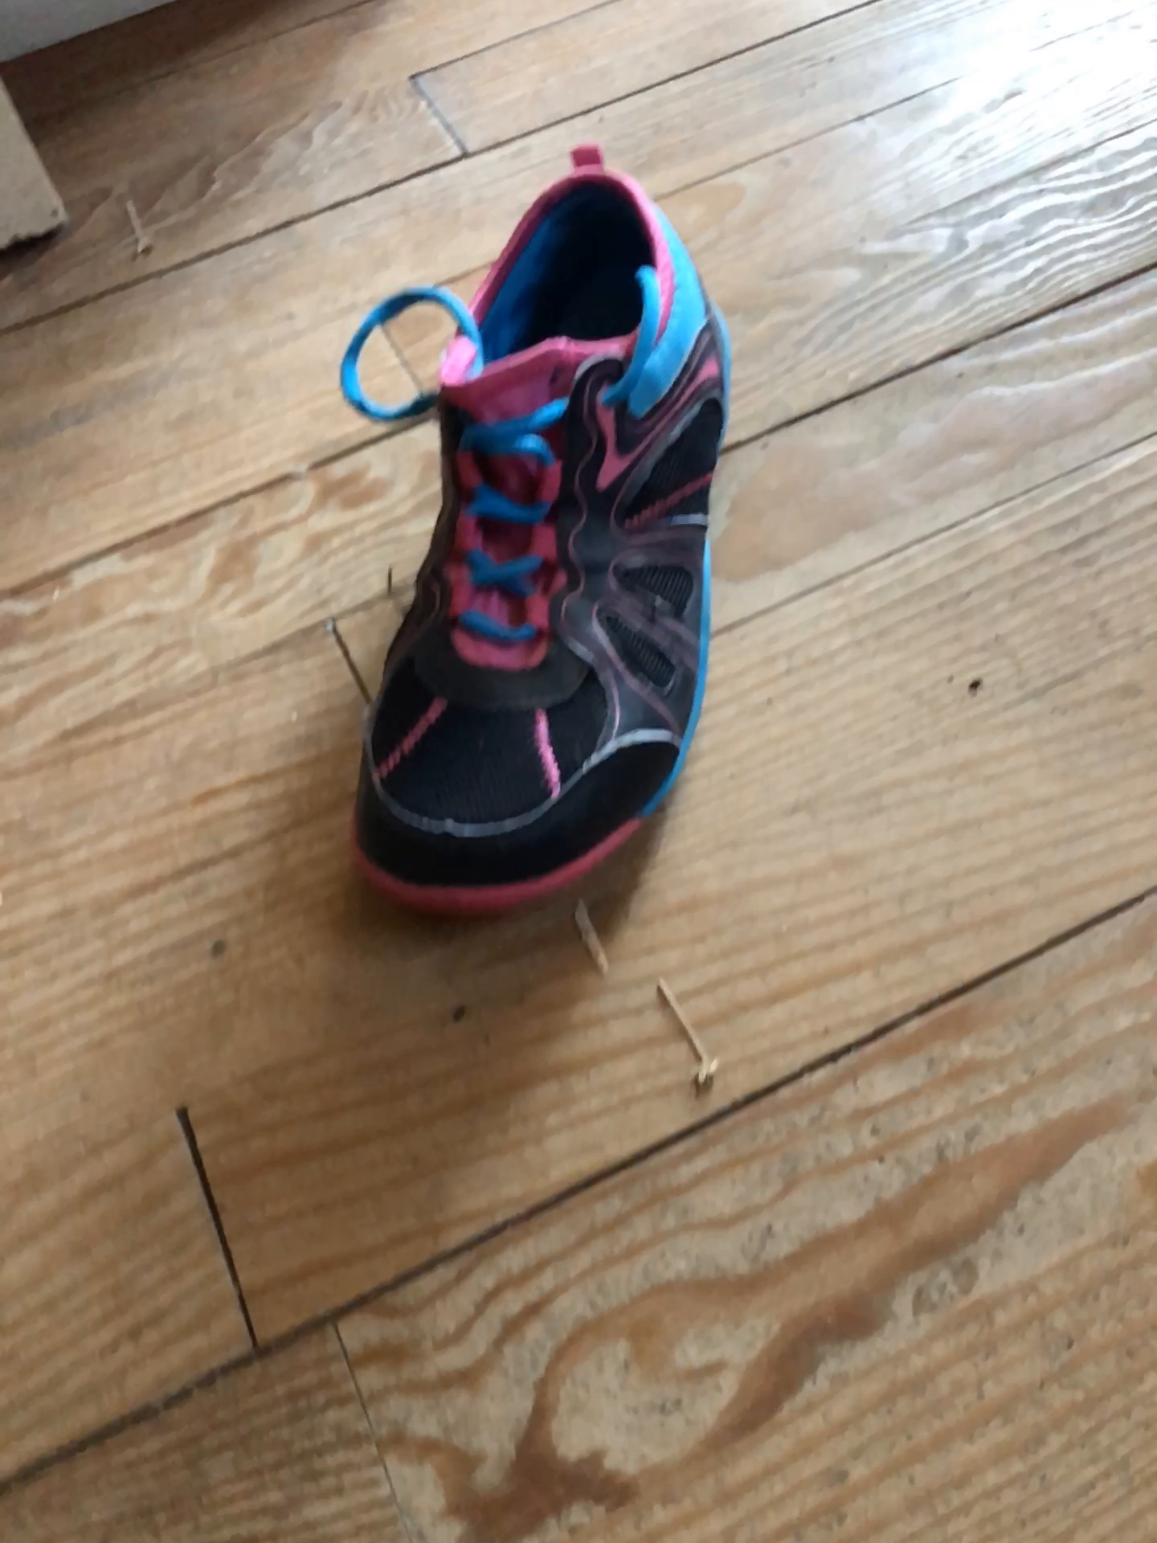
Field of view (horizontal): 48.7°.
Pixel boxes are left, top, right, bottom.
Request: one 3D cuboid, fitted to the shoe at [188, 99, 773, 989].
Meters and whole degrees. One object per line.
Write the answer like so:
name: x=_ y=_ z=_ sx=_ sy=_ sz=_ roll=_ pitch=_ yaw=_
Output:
shoe: x=-0.010 y=-0.080 z=0.395 sx=0.110 sy=0.100 sz=0.261 roll=6 pitch=60 yaw=9
